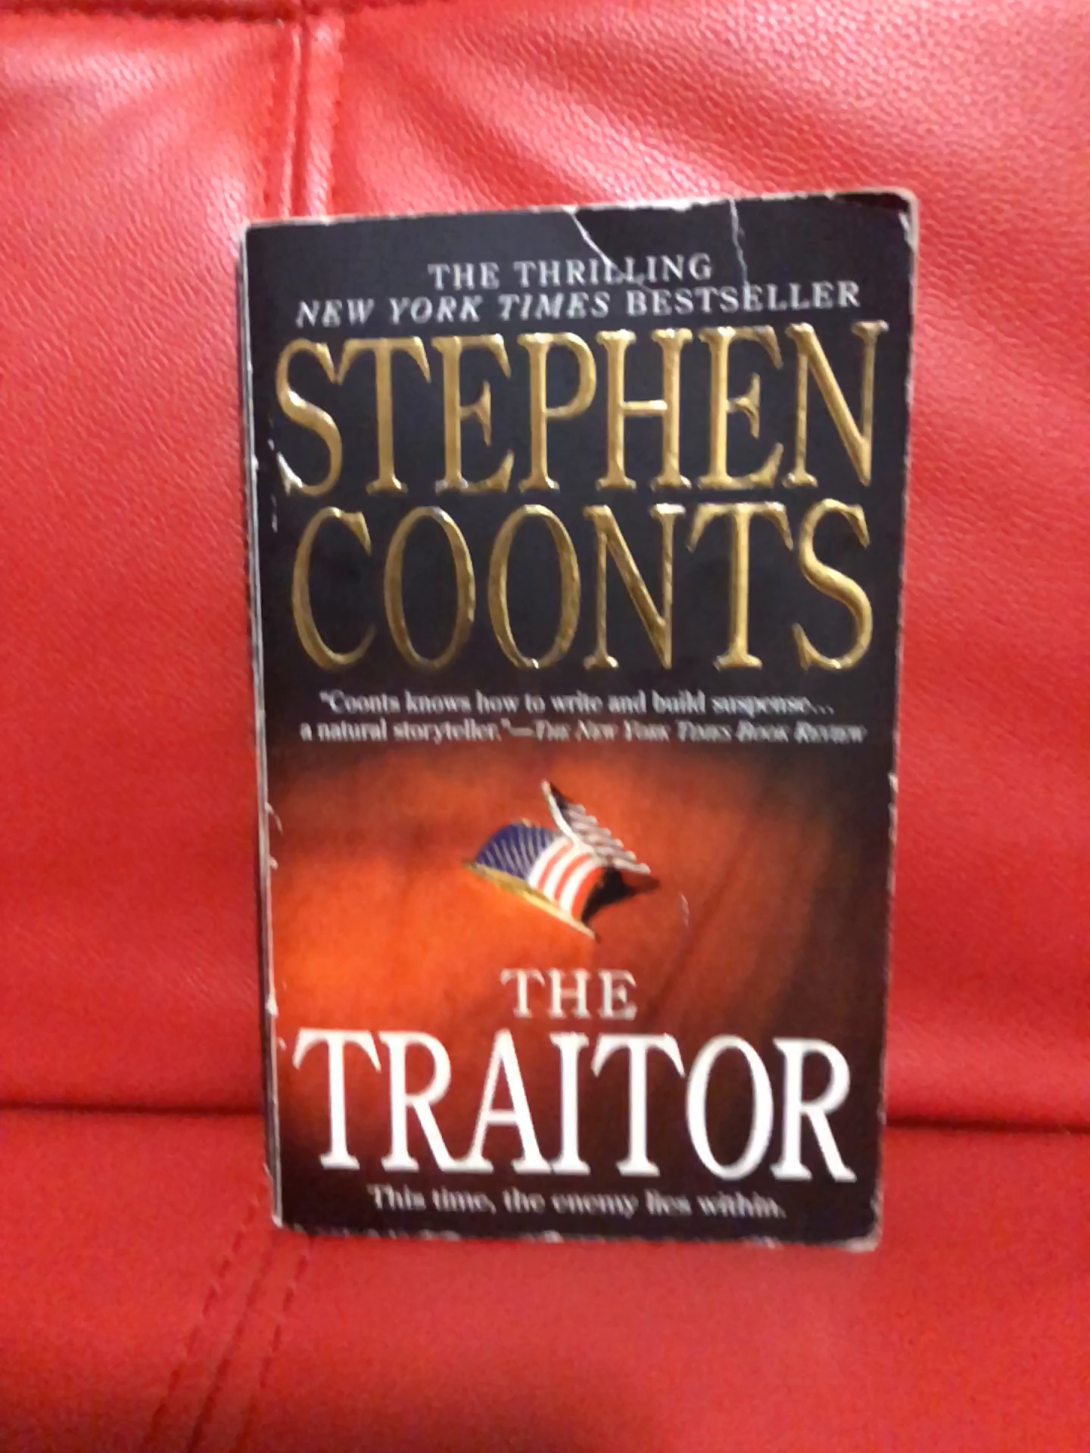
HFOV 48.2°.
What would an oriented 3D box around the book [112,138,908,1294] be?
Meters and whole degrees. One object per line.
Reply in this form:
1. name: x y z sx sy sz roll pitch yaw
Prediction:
1. book: -0.005 0.000 0.211 0.120 0.180 0.040 0 5 3
